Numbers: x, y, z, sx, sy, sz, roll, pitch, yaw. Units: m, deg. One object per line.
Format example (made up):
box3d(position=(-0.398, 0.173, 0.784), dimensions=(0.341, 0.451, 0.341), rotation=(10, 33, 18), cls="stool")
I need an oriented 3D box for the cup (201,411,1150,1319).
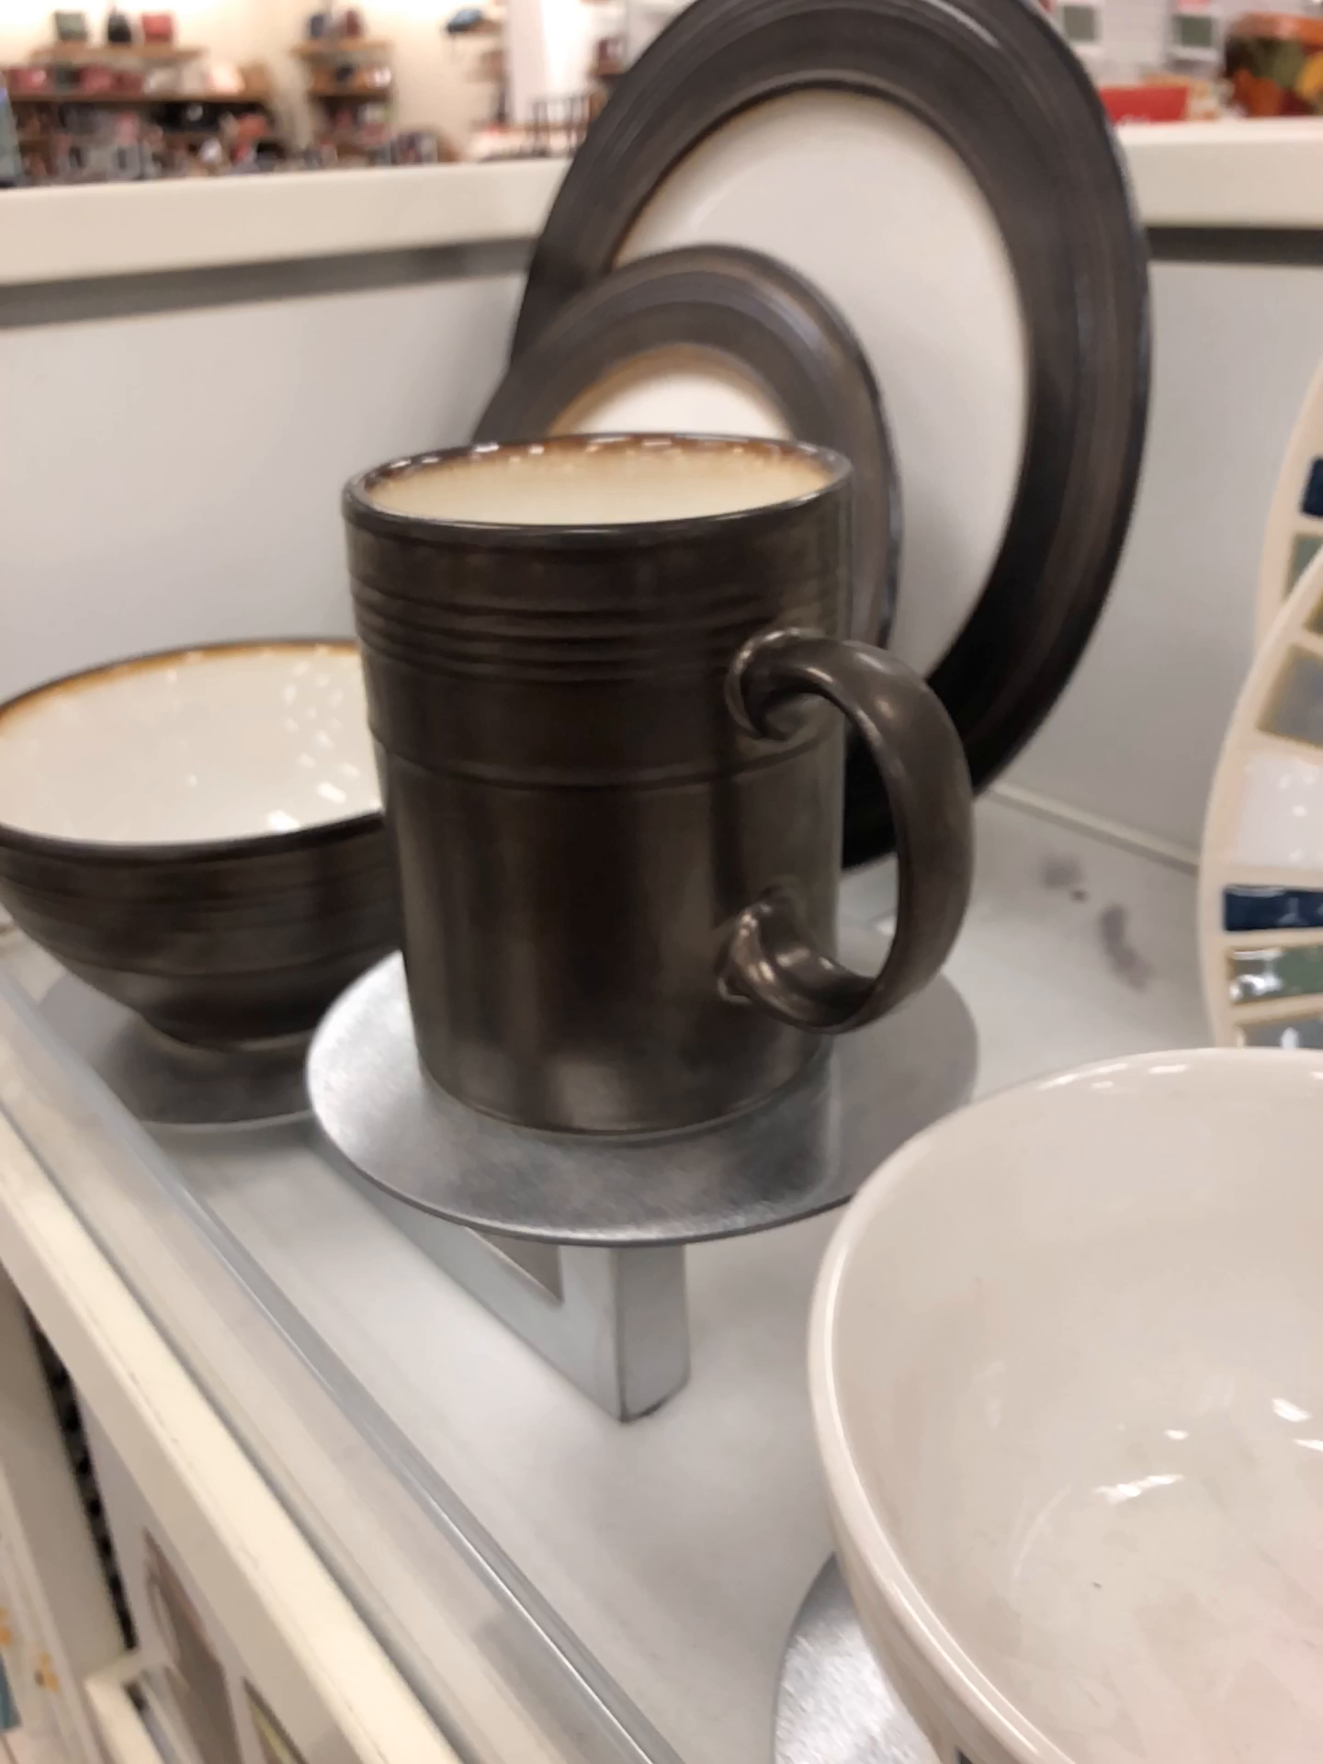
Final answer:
box3d(position=(0.001, -0.016, 0.249), dimensions=(0.119, 0.102, 0.083), rotation=(20, 33, 37), cls="cup")
